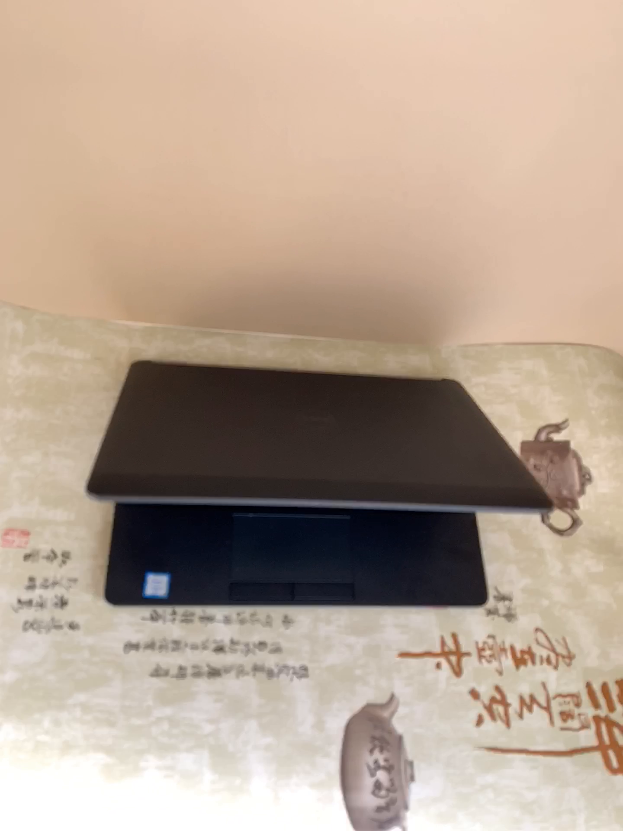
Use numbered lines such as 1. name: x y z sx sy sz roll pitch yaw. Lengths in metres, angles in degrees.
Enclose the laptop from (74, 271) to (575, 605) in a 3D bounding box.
1. laptop: 0.003 0.026 0.491 0.308 0.136 0.212 3 62 -8
